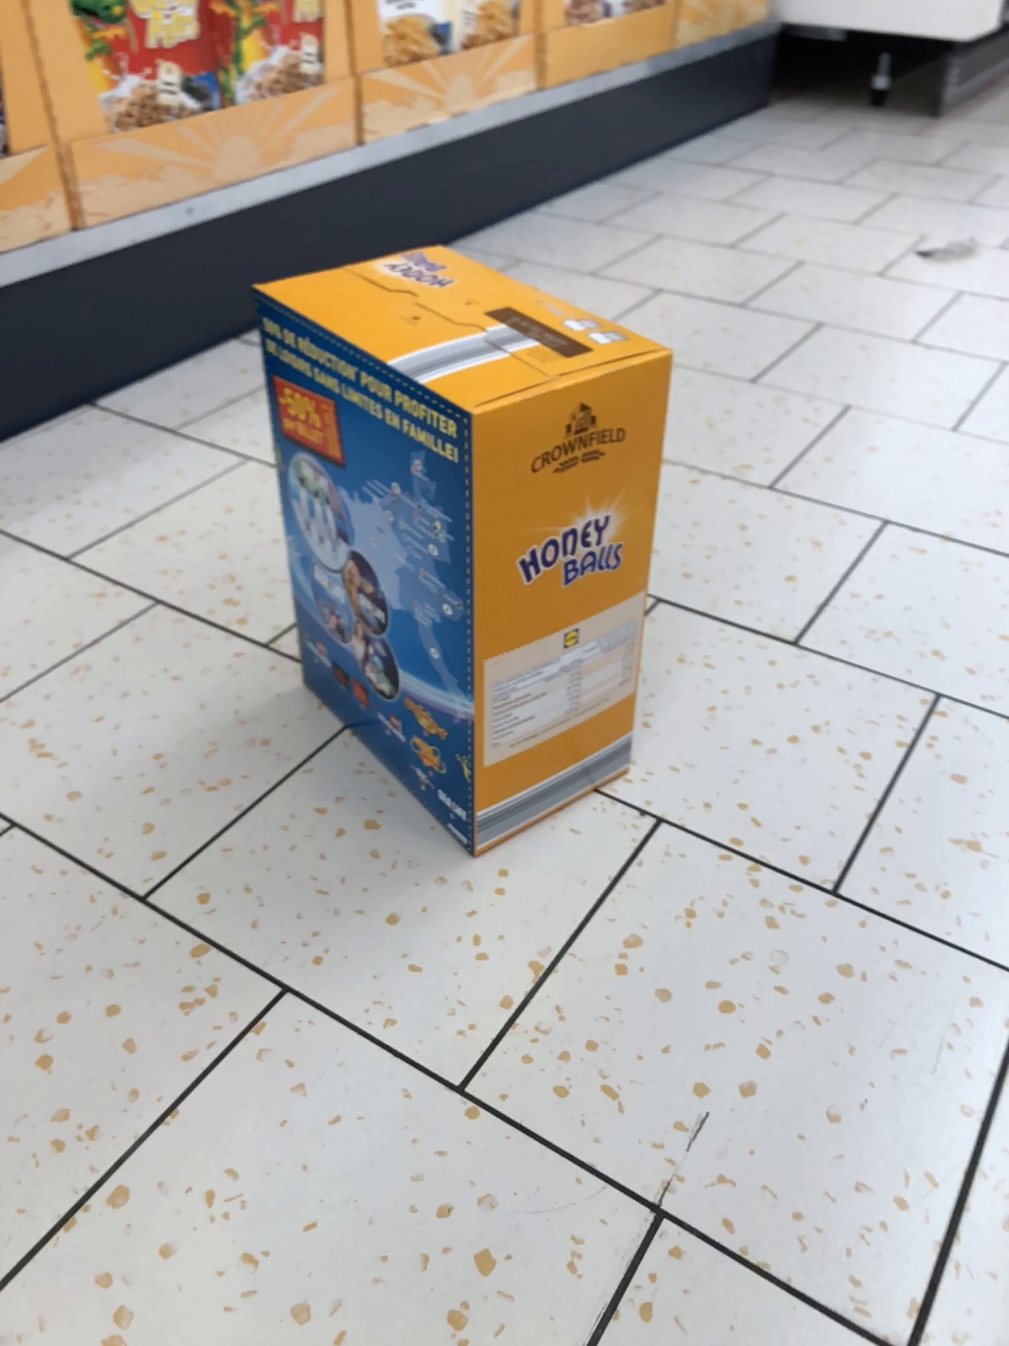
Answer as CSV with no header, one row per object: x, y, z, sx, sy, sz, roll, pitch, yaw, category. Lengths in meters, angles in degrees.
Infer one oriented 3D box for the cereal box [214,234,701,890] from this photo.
-0.030,-0.066,0.597,0.131,0.258,0.210,-24,43,-29,cereal box
